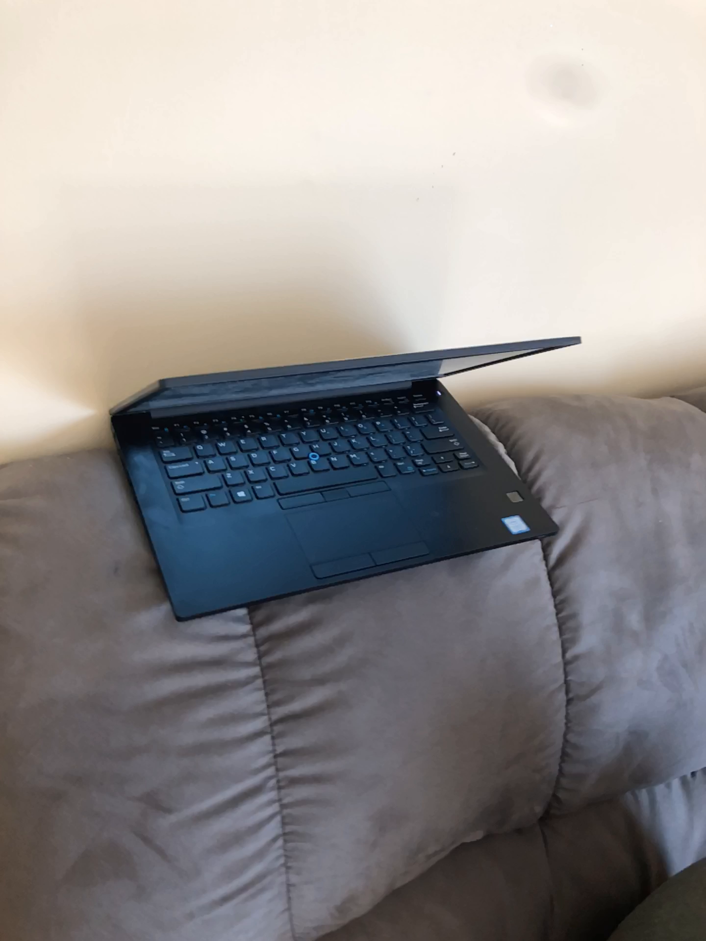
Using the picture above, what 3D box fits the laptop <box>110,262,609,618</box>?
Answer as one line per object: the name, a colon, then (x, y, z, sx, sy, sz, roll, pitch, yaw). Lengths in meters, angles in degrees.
laptop: (-0.005, -0.047, 0.617, 0.321, 0.128, 0.214, -9, 44, -25)
